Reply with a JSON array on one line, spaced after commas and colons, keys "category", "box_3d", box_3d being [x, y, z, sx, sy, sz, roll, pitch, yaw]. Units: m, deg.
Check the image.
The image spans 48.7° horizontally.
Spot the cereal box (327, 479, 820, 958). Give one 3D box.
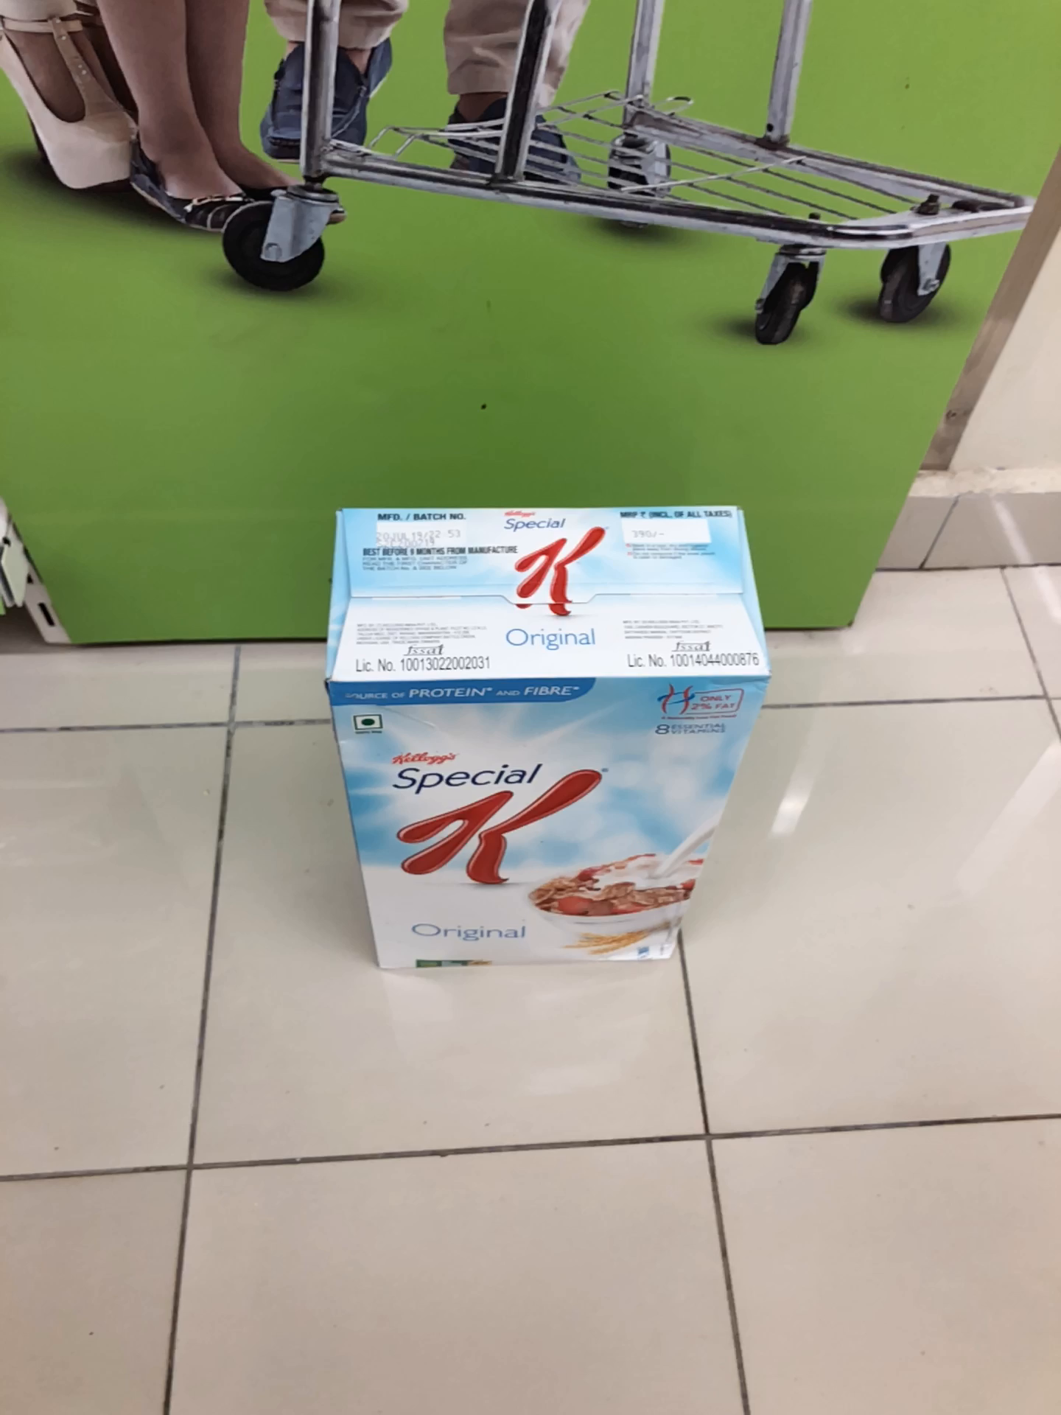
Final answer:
[{"category": "cereal box", "box_3d": [0.008, 0.025, 0.629, 0.200, 0.308, 0.100, -1, 56, -4]}]
